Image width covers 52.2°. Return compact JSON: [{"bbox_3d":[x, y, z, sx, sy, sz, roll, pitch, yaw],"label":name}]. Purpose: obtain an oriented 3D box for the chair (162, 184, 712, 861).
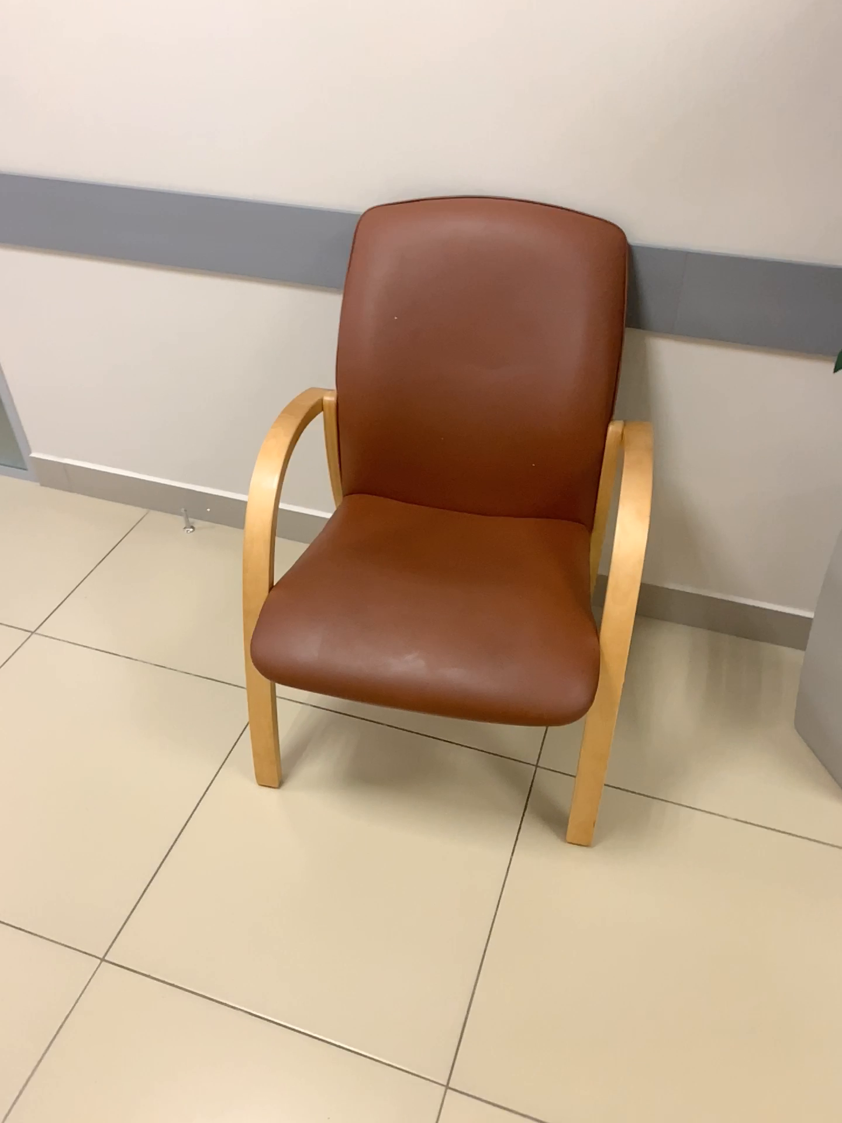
[{"bbox_3d":[0.073,-0.058,1.564,0.670,0.985,0.603,8,41,10],"label":"chair"}]
